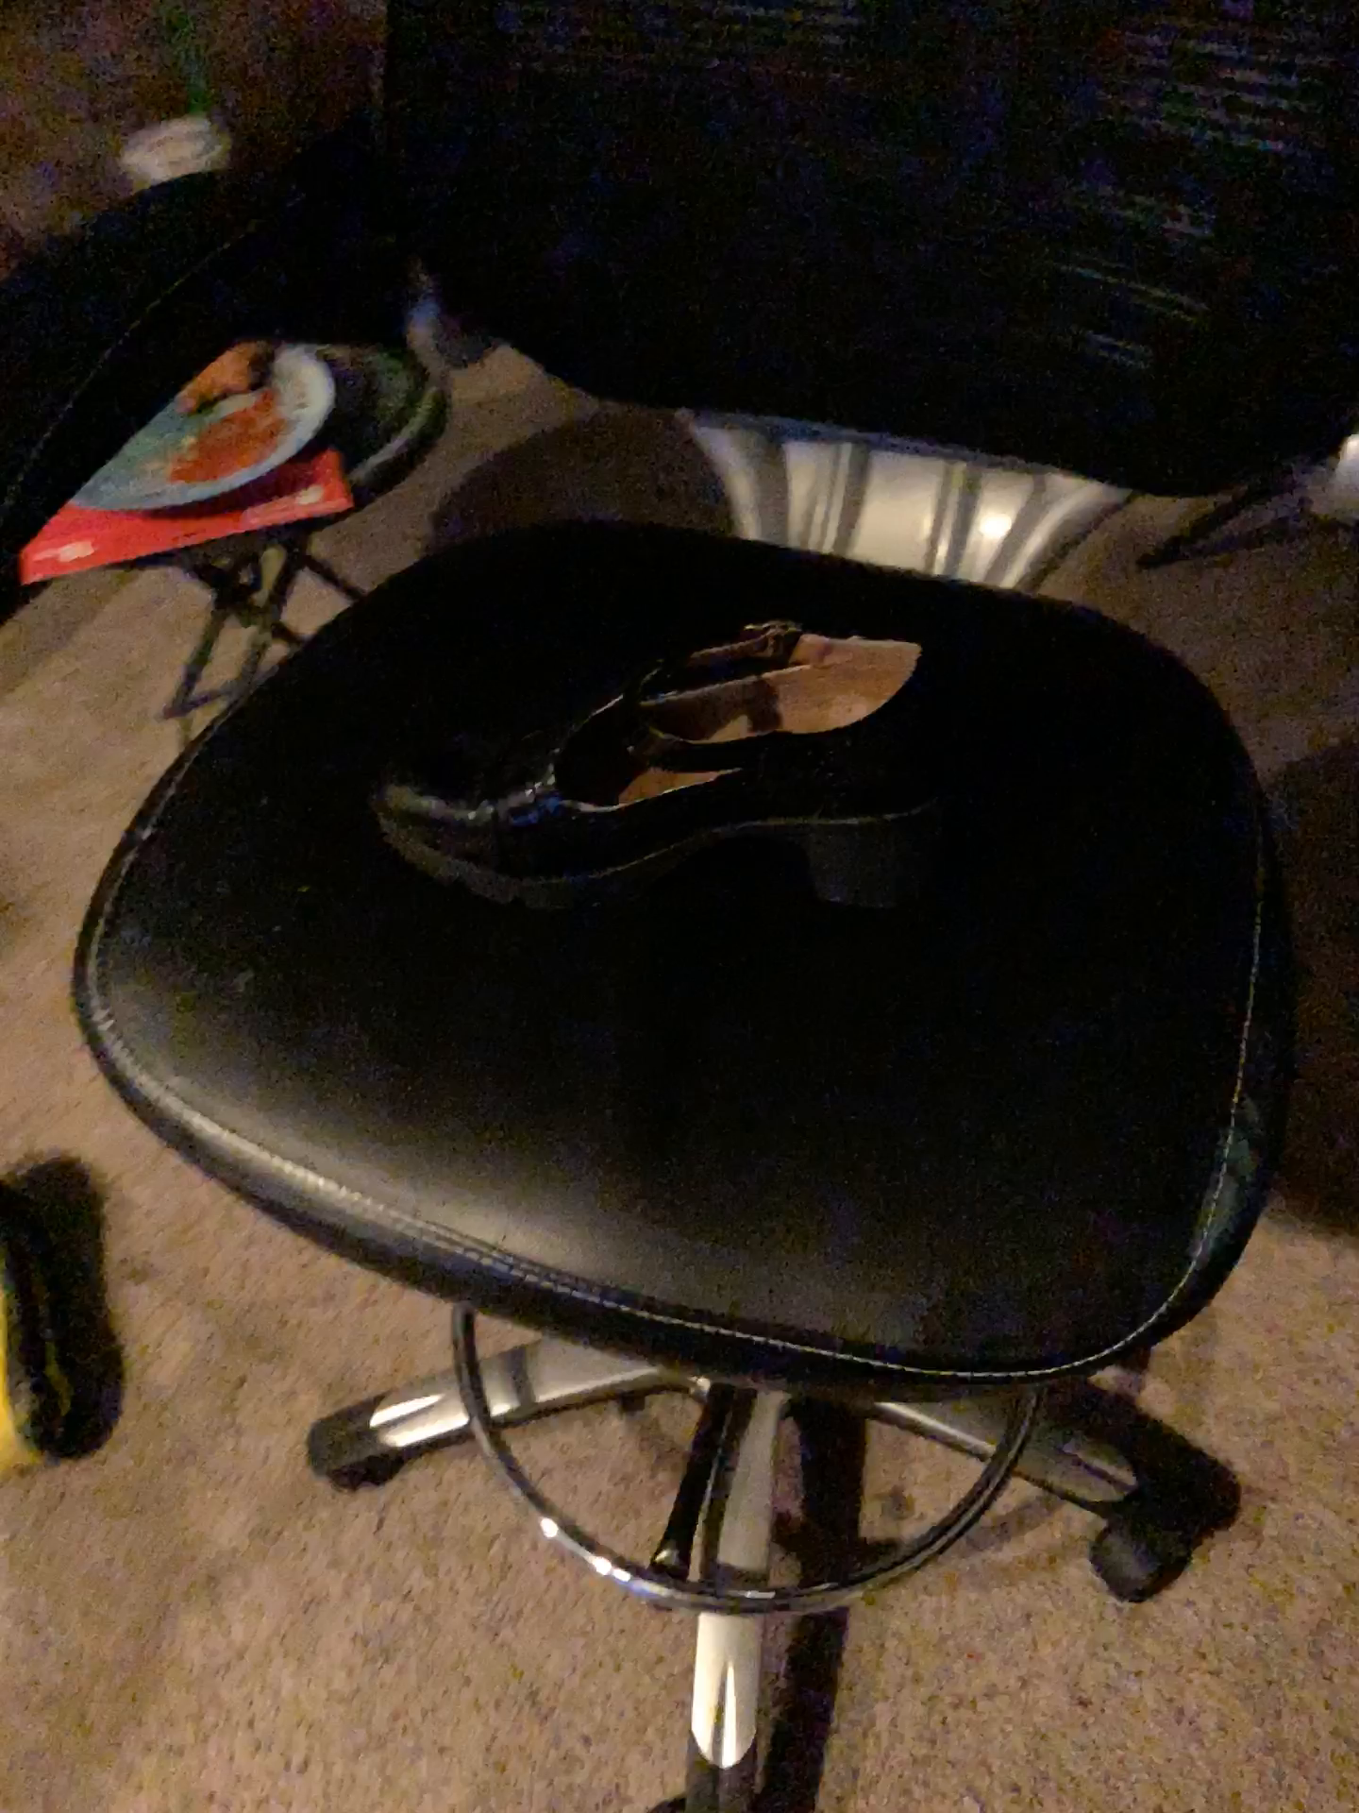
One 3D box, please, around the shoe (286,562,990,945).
[{"bbox_3d":[-0.010,-0.068,0.645,0.270,0.100,0.110,4,48,7],"label":"shoe"}]
